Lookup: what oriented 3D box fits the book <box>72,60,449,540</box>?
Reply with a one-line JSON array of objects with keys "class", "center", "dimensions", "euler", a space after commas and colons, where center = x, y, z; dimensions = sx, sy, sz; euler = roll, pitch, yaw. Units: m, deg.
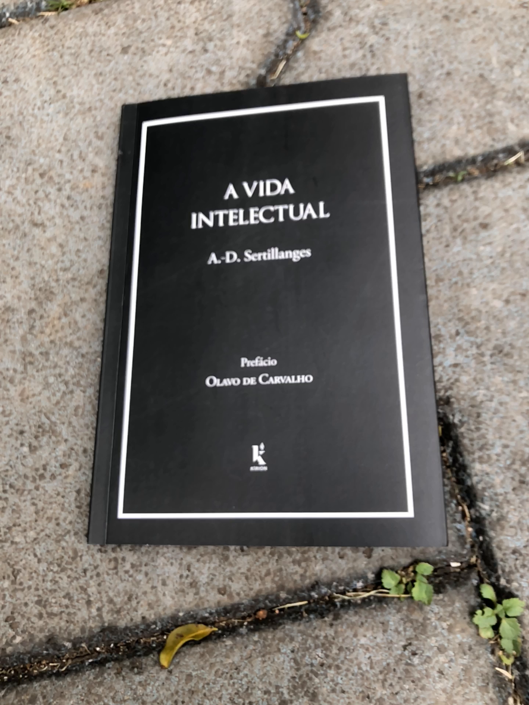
[{"class": "book", "center": [-0.003, -0.025, 0.249], "dimensions": [0.136, 0.020, 0.196], "euler": [-3, 74, 9]}]
